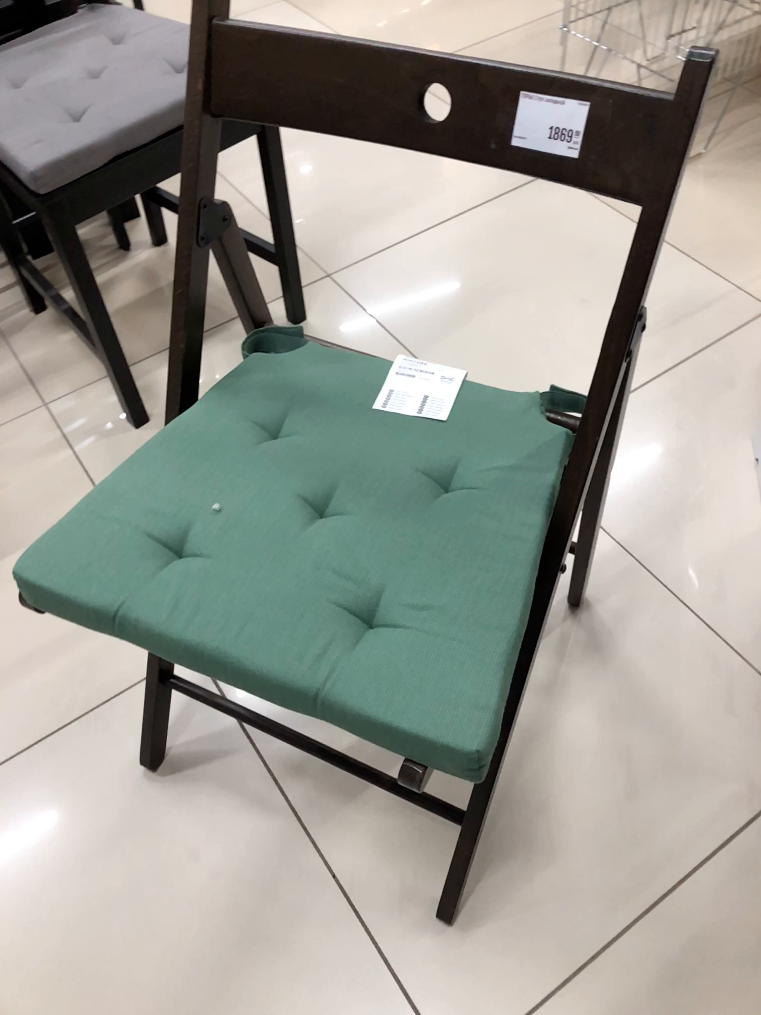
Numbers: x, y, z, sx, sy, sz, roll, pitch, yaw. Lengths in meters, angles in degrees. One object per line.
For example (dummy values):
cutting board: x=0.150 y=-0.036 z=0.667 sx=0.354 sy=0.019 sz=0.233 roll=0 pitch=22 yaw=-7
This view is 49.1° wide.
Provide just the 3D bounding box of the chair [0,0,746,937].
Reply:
chair: x=-0.031 y=-0.014 z=0.780 sx=0.440 sy=0.686 sz=0.482 roll=19 pitch=56 yaw=18
